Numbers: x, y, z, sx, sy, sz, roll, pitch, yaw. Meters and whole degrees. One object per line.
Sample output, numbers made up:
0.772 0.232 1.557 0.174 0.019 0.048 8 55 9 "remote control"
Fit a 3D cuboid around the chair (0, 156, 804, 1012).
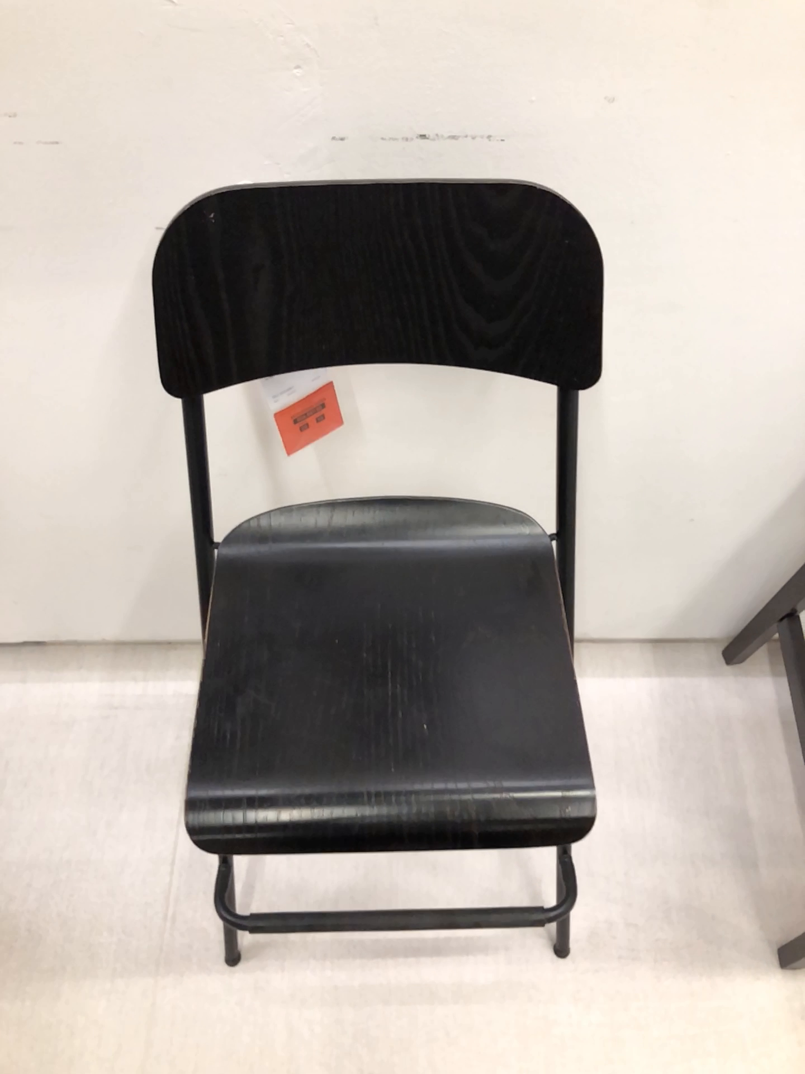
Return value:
-0.021 0.162 0.901 0.490 0.885 0.472 -2 56 0 "chair"
